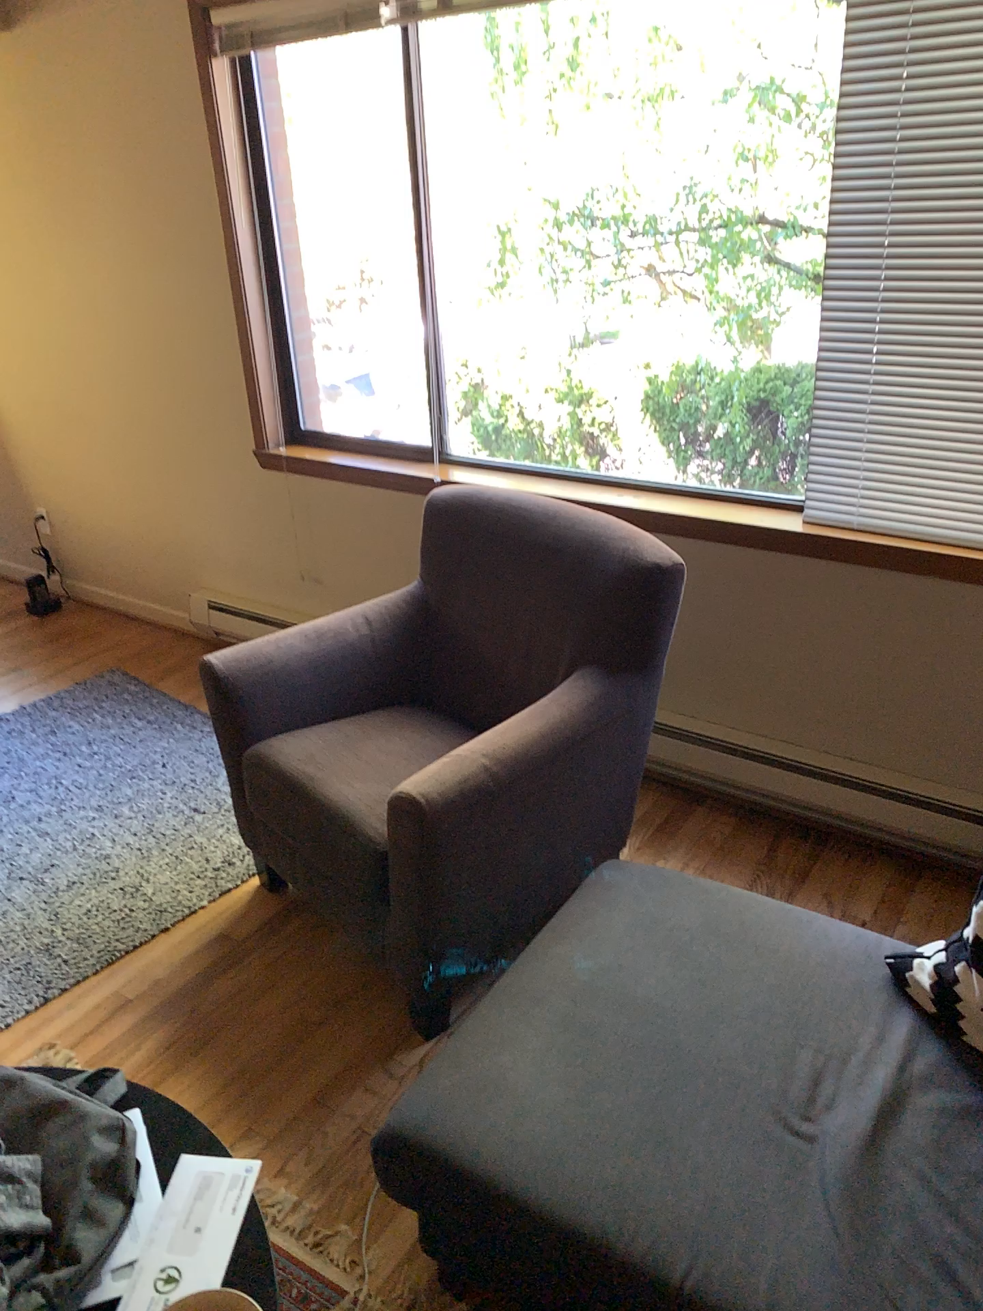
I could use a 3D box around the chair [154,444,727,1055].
[{"bbox_3d":[-0.117,0.096,2.226,0.801,0.875,0.884,-20,30,-37],"label":"chair"}]
